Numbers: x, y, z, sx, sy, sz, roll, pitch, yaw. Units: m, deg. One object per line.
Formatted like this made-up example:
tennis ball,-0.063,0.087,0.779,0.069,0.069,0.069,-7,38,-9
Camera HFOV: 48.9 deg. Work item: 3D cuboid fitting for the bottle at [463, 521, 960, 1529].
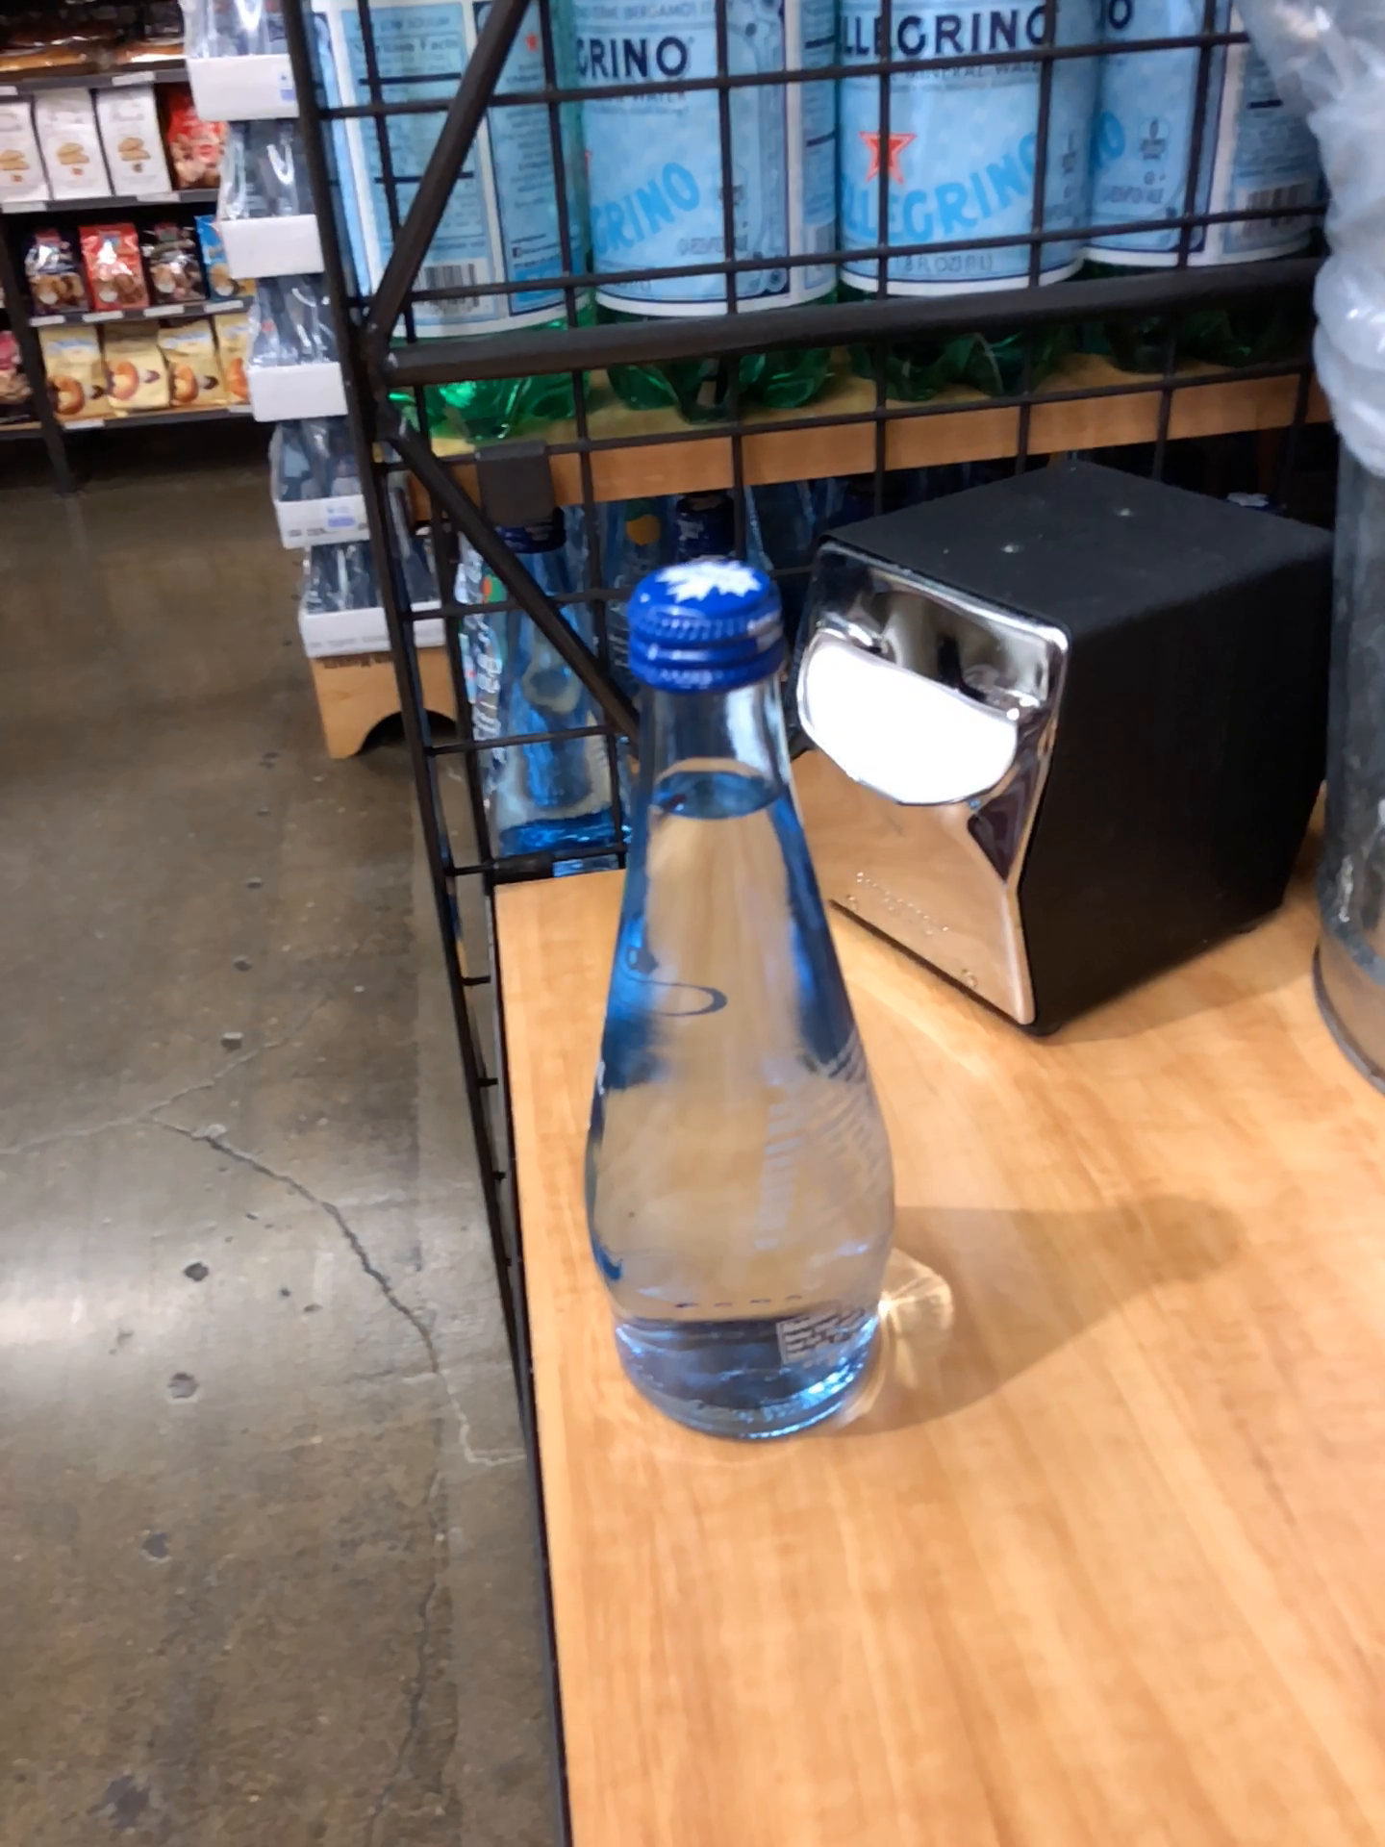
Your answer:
bottle,0.009,0.026,0.305,0.060,0.189,0.060,-2,33,1
